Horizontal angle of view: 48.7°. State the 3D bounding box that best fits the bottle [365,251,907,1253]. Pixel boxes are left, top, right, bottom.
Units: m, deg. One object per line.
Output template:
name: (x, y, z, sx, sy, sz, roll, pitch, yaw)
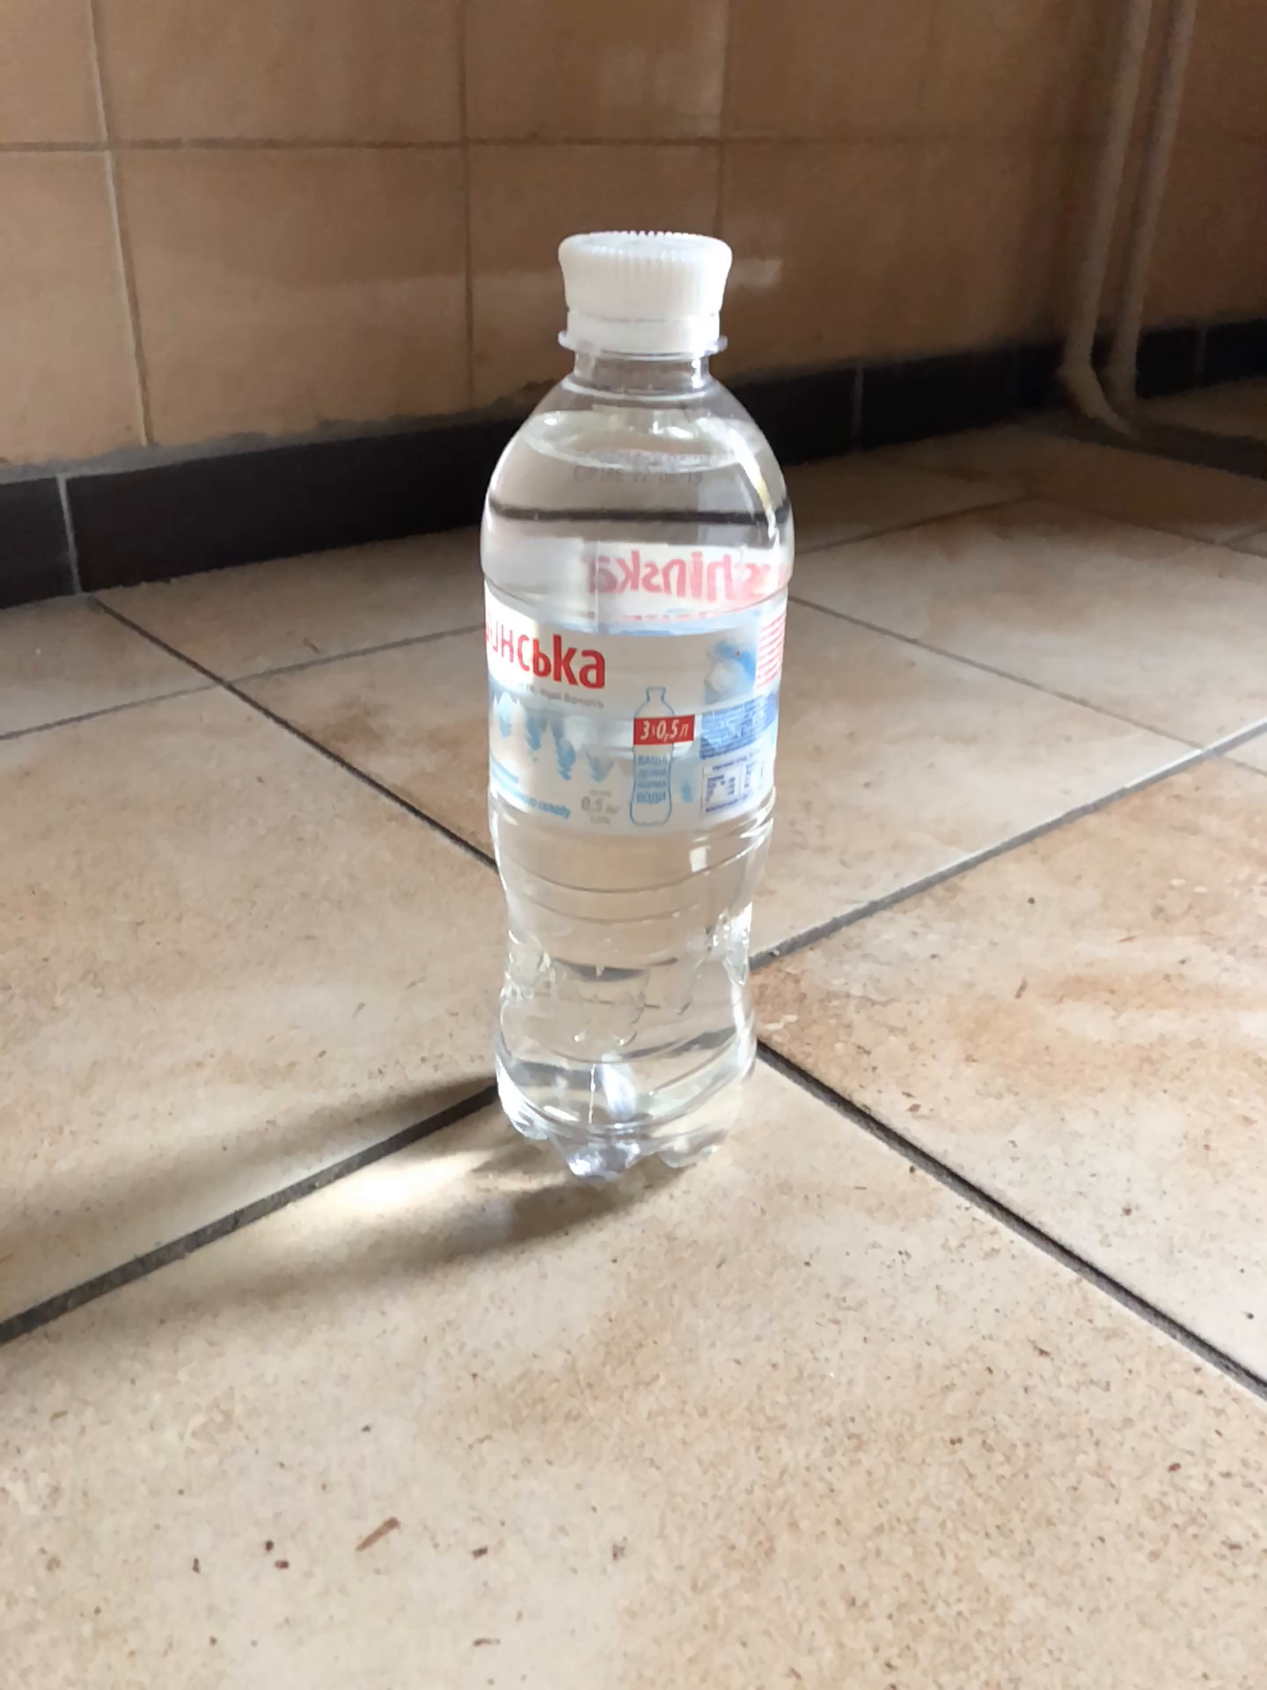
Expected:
bottle: (-0.006, -0.021, 0.312, 0.080, 0.199, 0.080, 1, 28, -1)
